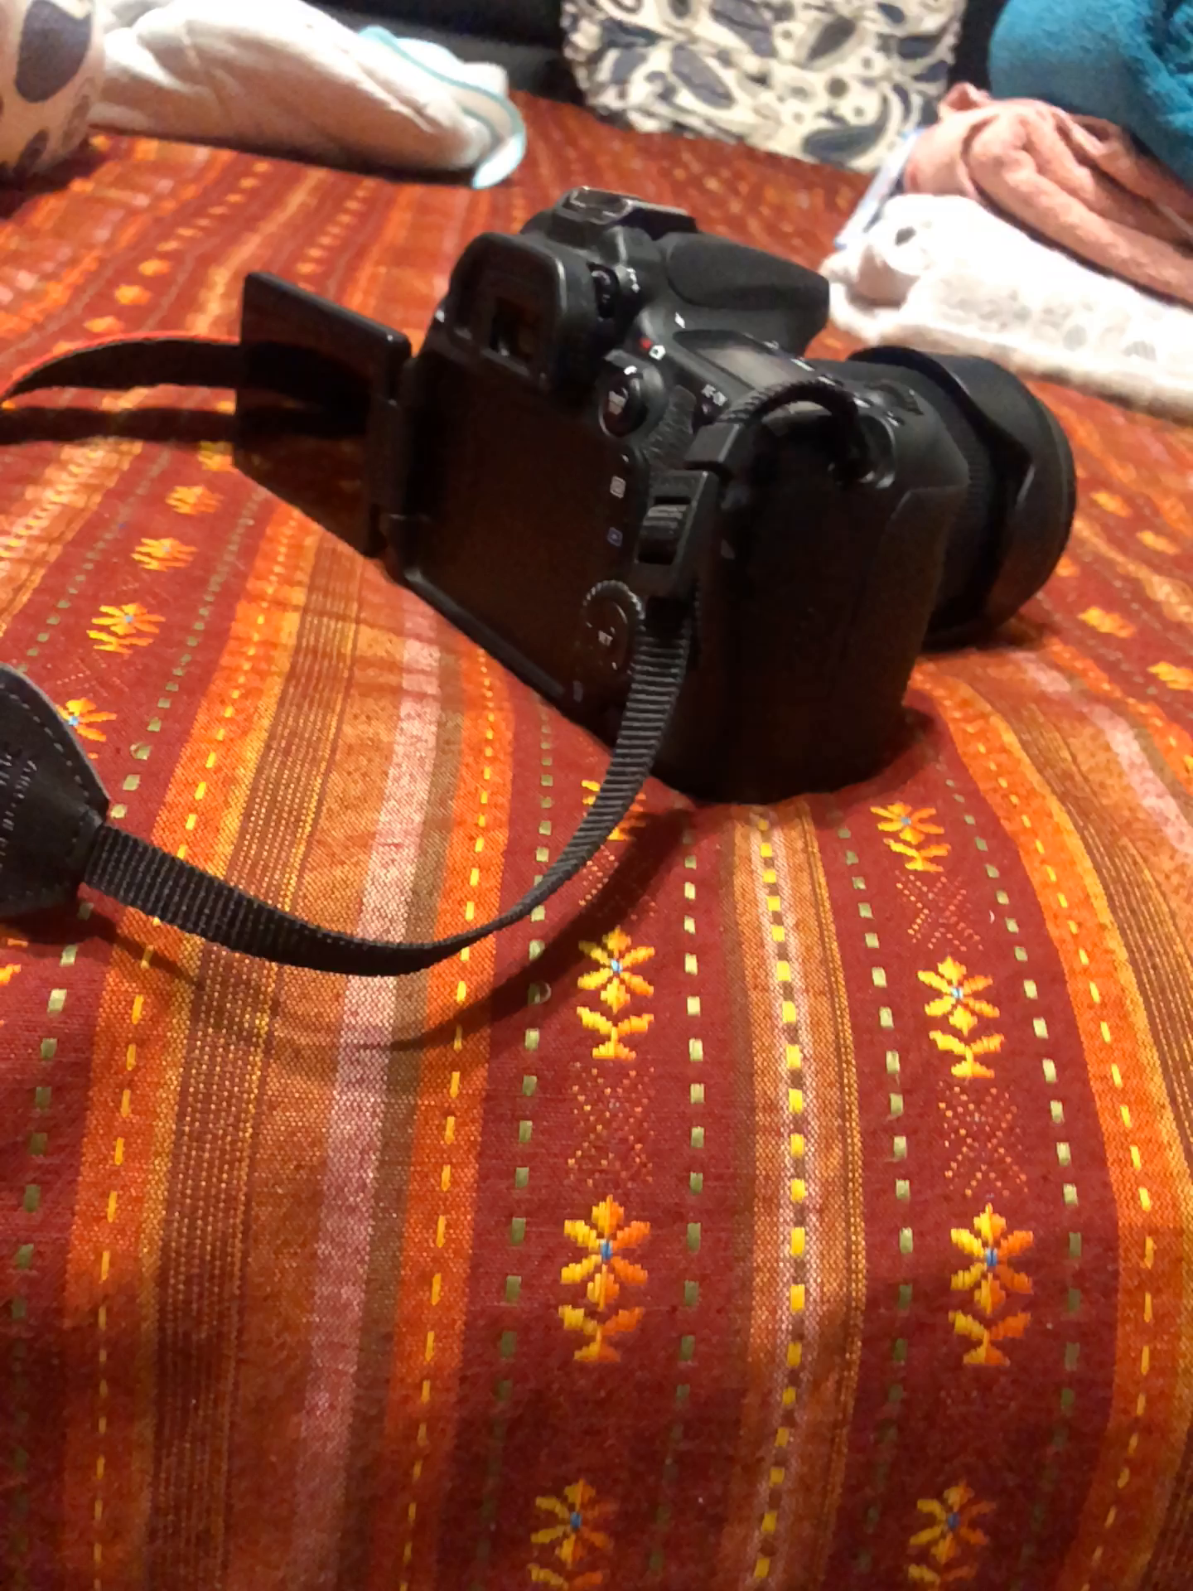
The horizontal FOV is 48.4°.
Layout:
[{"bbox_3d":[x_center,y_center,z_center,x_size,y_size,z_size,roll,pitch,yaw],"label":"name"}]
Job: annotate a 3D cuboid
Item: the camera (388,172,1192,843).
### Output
[{"bbox_3d":[0.060,-0.084,0.336,0.171,0.099,0.131,-16,41,-38],"label":"camera"}]
